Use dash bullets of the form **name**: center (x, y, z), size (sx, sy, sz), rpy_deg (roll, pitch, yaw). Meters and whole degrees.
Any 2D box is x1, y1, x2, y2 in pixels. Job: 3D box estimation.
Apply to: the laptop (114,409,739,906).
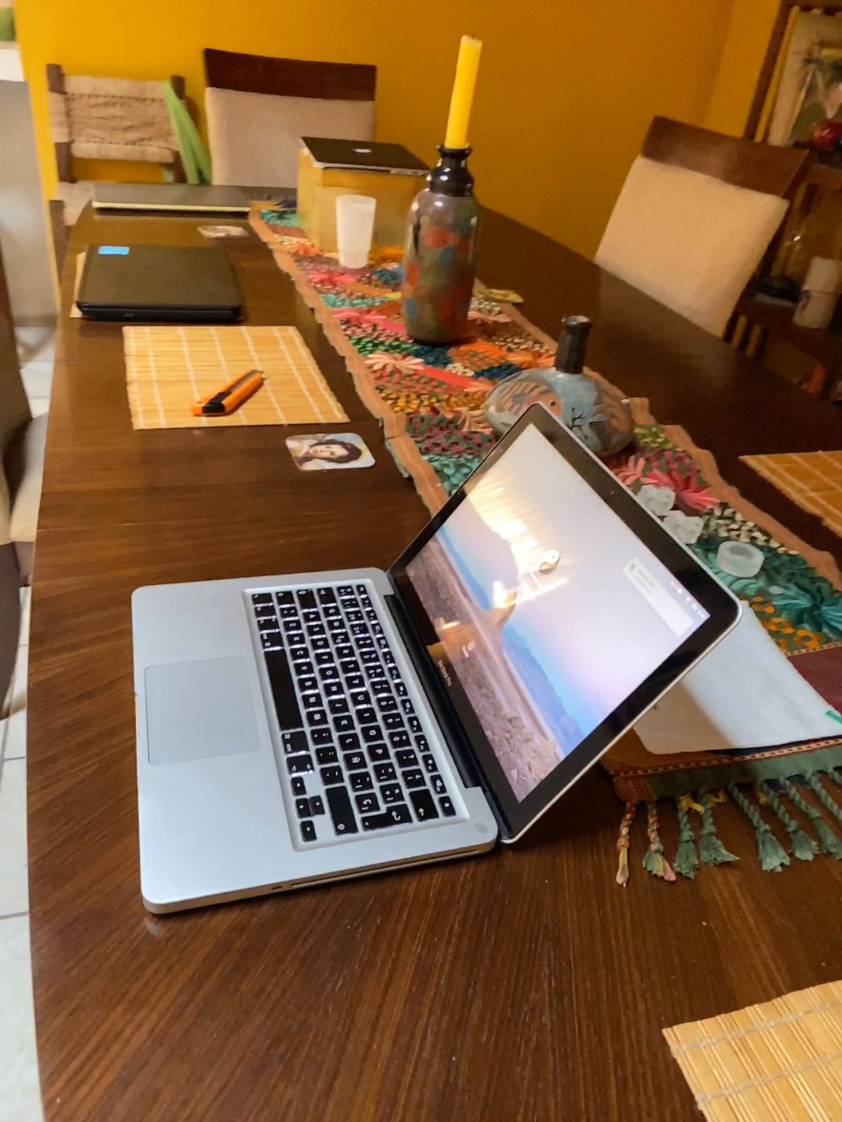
- **laptop**: center (-0.034, 0.033, 0.644), size (0.357, 0.170, 0.326), rpy_deg (-4, 34, -17)
